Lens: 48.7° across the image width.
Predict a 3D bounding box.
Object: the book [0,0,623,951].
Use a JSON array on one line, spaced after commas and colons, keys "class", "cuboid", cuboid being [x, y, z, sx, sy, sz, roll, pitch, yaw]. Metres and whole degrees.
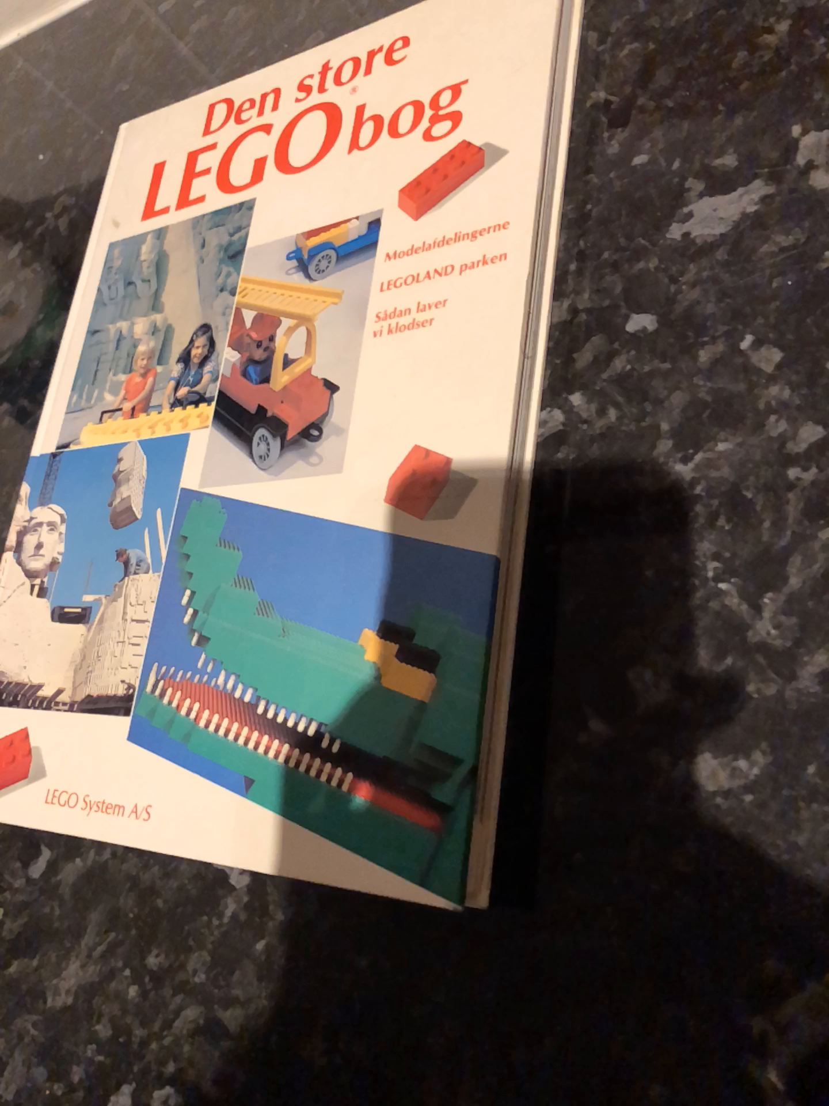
[{"class": "book", "cuboid": [-0.050, -0.048, 0.297, 0.210, 0.030, 0.291, -2, 70, 31]}]
